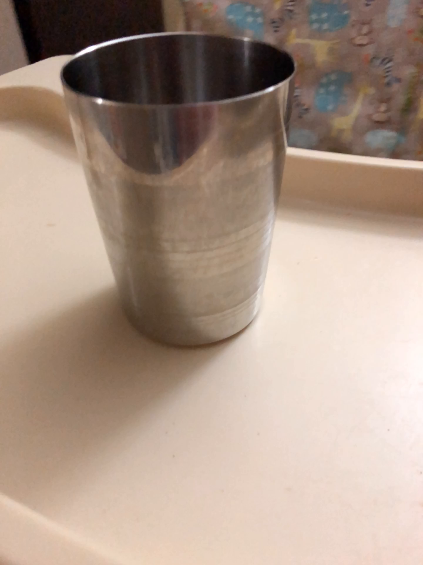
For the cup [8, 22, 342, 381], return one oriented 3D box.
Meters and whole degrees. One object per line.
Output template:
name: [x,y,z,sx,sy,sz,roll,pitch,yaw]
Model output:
cup: [-0.006,-0.032,0.172,0.073,0.090,0.073,-2,42,1]
